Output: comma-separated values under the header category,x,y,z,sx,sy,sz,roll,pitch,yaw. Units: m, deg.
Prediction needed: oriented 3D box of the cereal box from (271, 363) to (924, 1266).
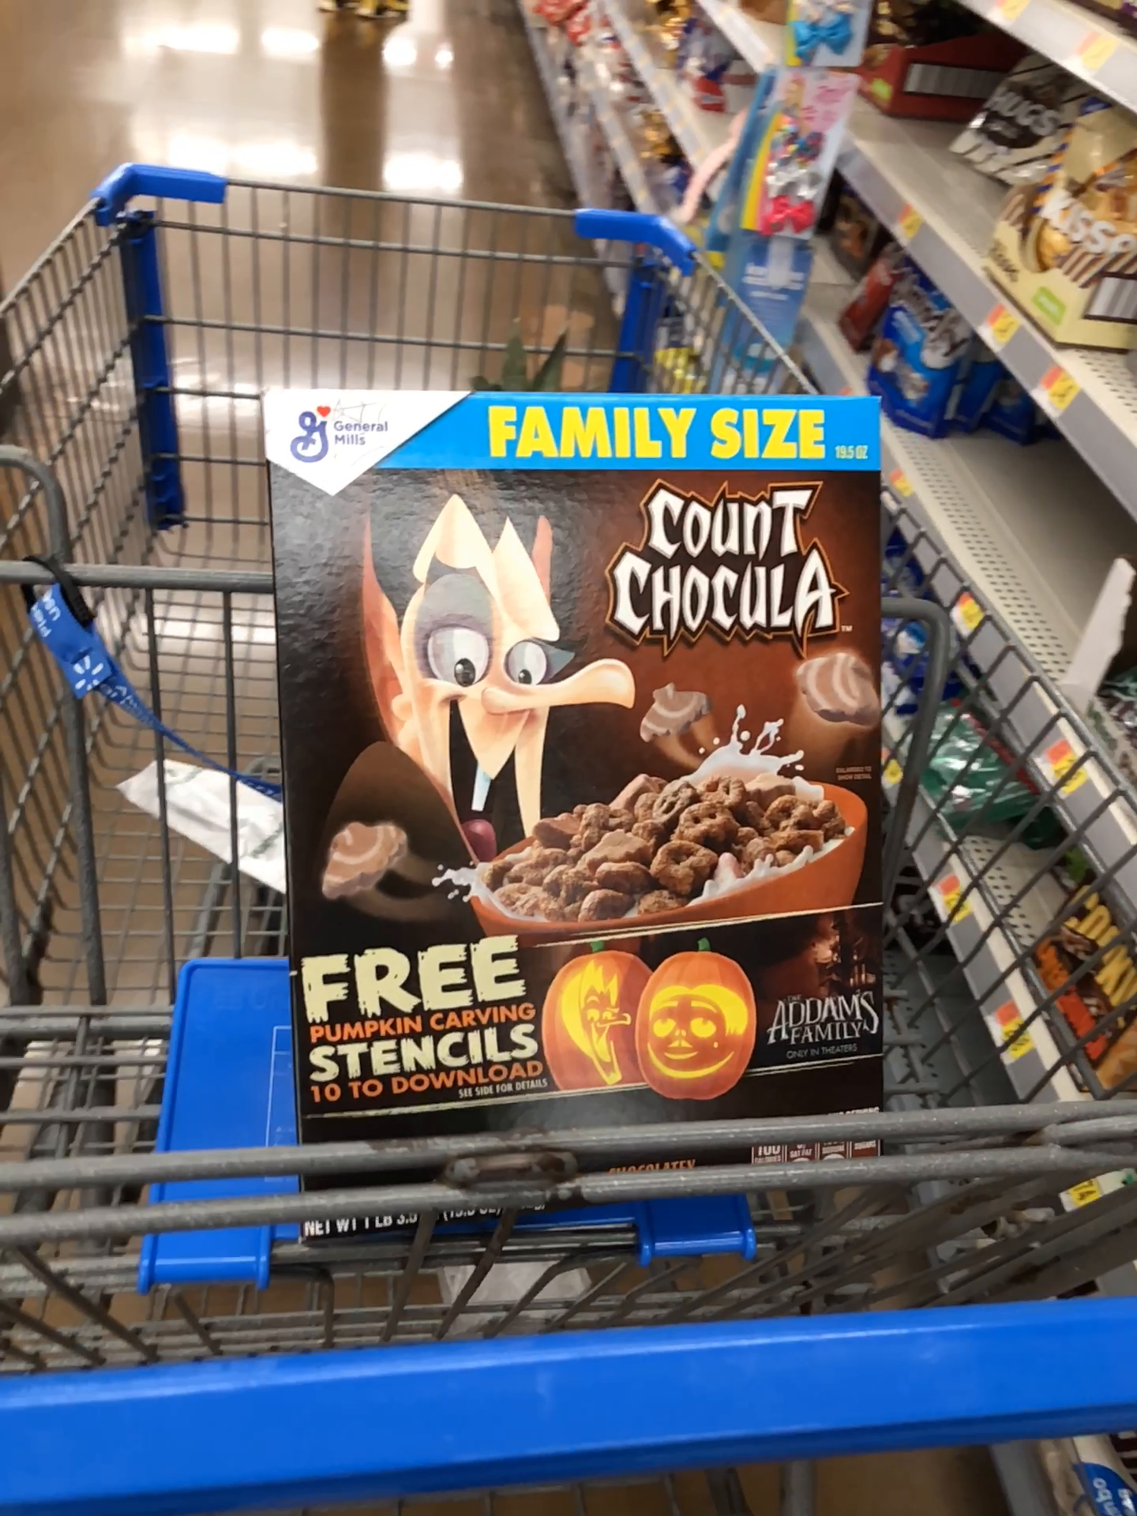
category,x,y,z,sx,sy,sz,roll,pitch,yaw
cereal box,0.012,0.018,0.520,0.250,0.330,0.080,-2,6,-13
